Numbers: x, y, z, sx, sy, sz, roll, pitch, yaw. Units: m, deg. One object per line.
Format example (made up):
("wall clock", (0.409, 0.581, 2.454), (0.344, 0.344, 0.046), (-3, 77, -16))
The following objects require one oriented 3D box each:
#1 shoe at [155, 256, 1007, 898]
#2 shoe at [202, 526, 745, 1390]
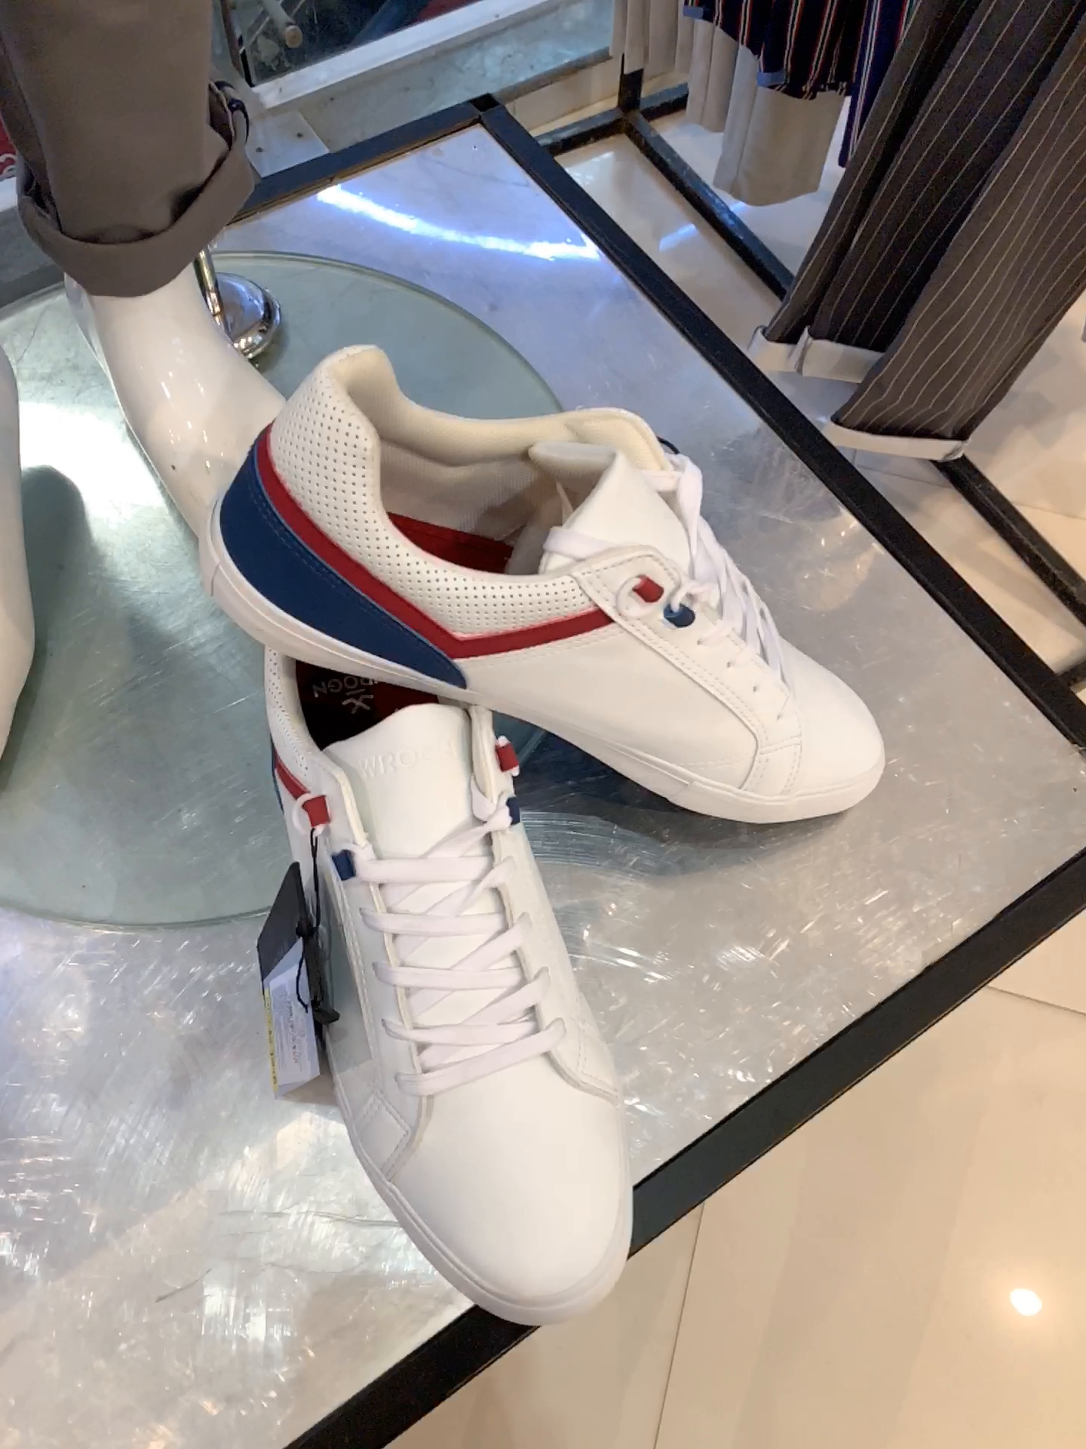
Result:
("shoe", (0.018, -0.043, 0.411), (0.280, 0.100, 0.101), (21, 55, -12))
("shoe", (-0.041, 0.075, 0.423), (0.100, 0.100, 0.281), (-15, 67, -18))
